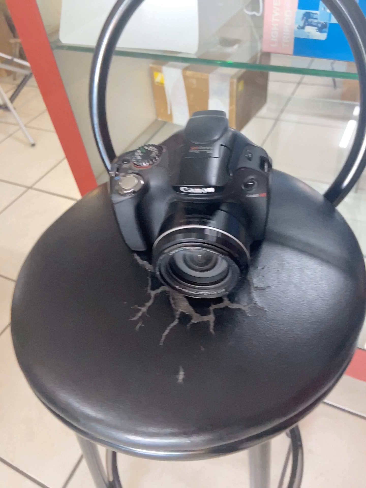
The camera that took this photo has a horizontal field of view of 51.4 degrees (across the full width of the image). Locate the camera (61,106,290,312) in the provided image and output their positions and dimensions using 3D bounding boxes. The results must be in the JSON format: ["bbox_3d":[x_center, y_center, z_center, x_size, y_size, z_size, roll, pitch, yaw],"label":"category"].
[{"bbox_3d":[0.003,-0.025,0.268,0.120,0.089,0.111,-1,45,8],"label":"camera"}]
